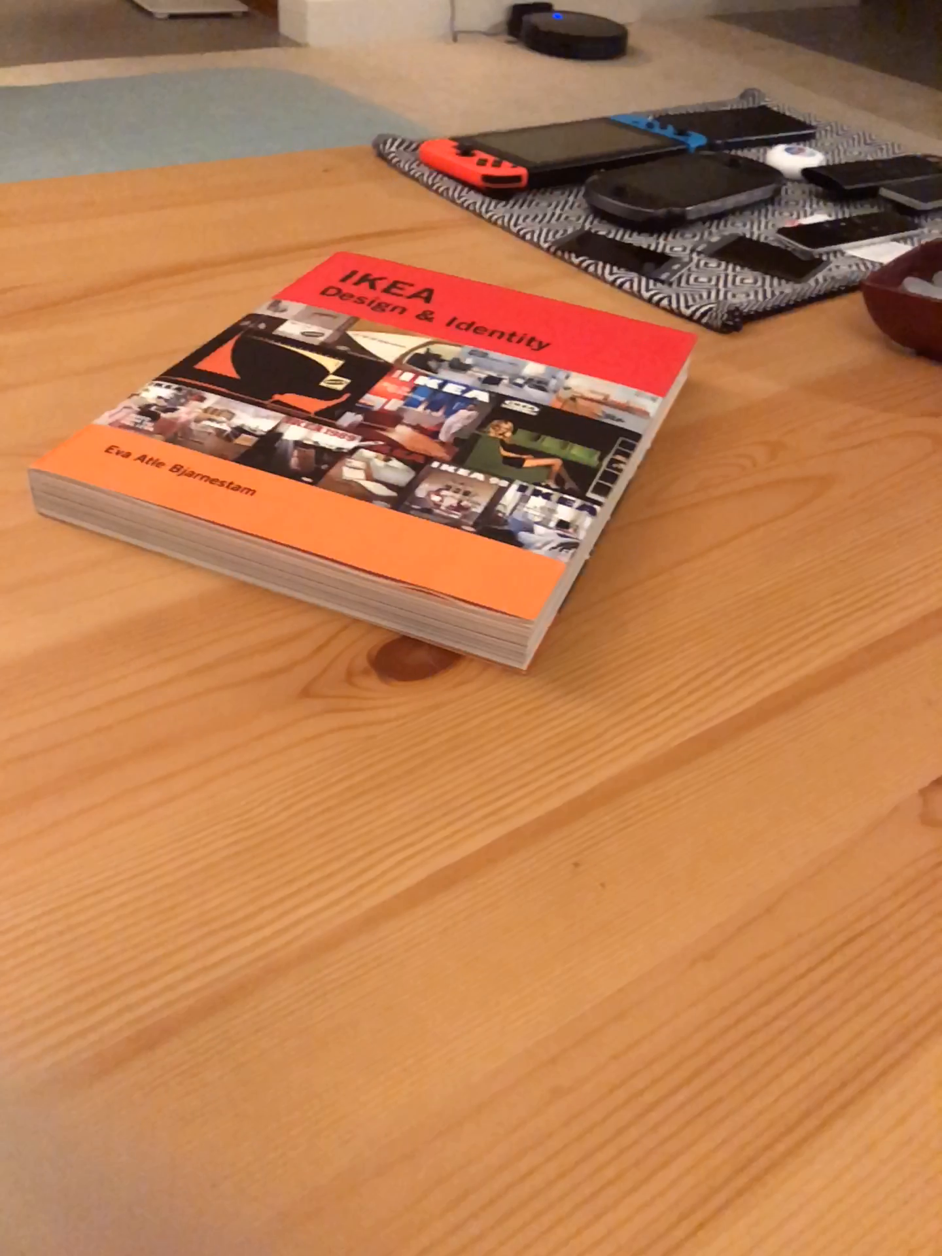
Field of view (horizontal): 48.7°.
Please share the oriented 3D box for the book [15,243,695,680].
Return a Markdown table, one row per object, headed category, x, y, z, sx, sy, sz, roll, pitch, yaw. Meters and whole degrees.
| category | x | y | z | sx | sy | sz | roll | pitch | yaw |
| --- | --- | --- | --- | --- | --- | --- | --- | --- | --- |
| book | -0.032 | -0.100 | 0.483 | 0.216 | 0.030 | 0.256 | 18 | 42 | 13 |
